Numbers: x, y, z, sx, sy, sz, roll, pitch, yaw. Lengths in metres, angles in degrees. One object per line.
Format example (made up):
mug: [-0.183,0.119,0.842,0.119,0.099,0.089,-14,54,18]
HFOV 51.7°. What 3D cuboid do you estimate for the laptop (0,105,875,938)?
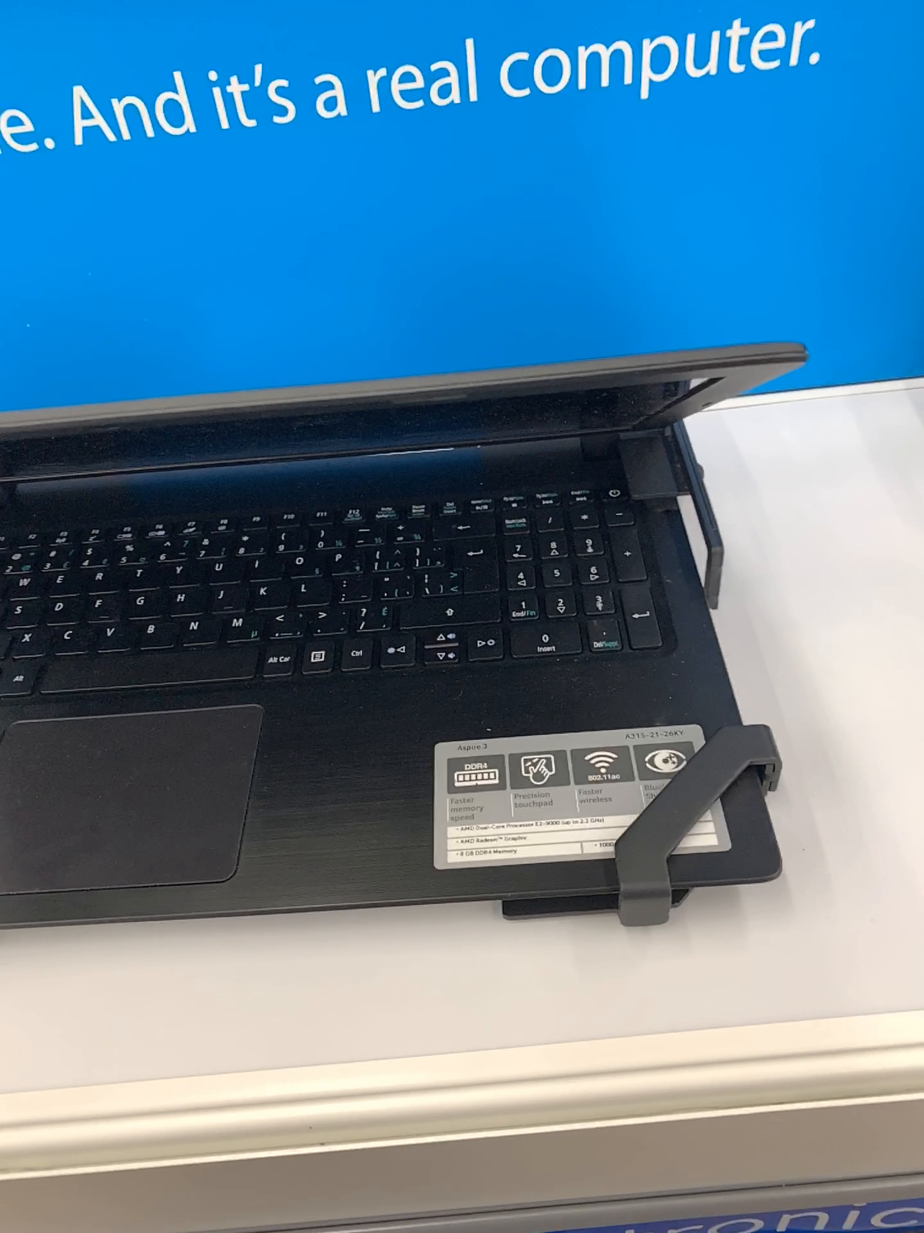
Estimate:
laptop: [-0.090,-0.042,0.343,0.364,0.146,0.234,-4,46,3]
